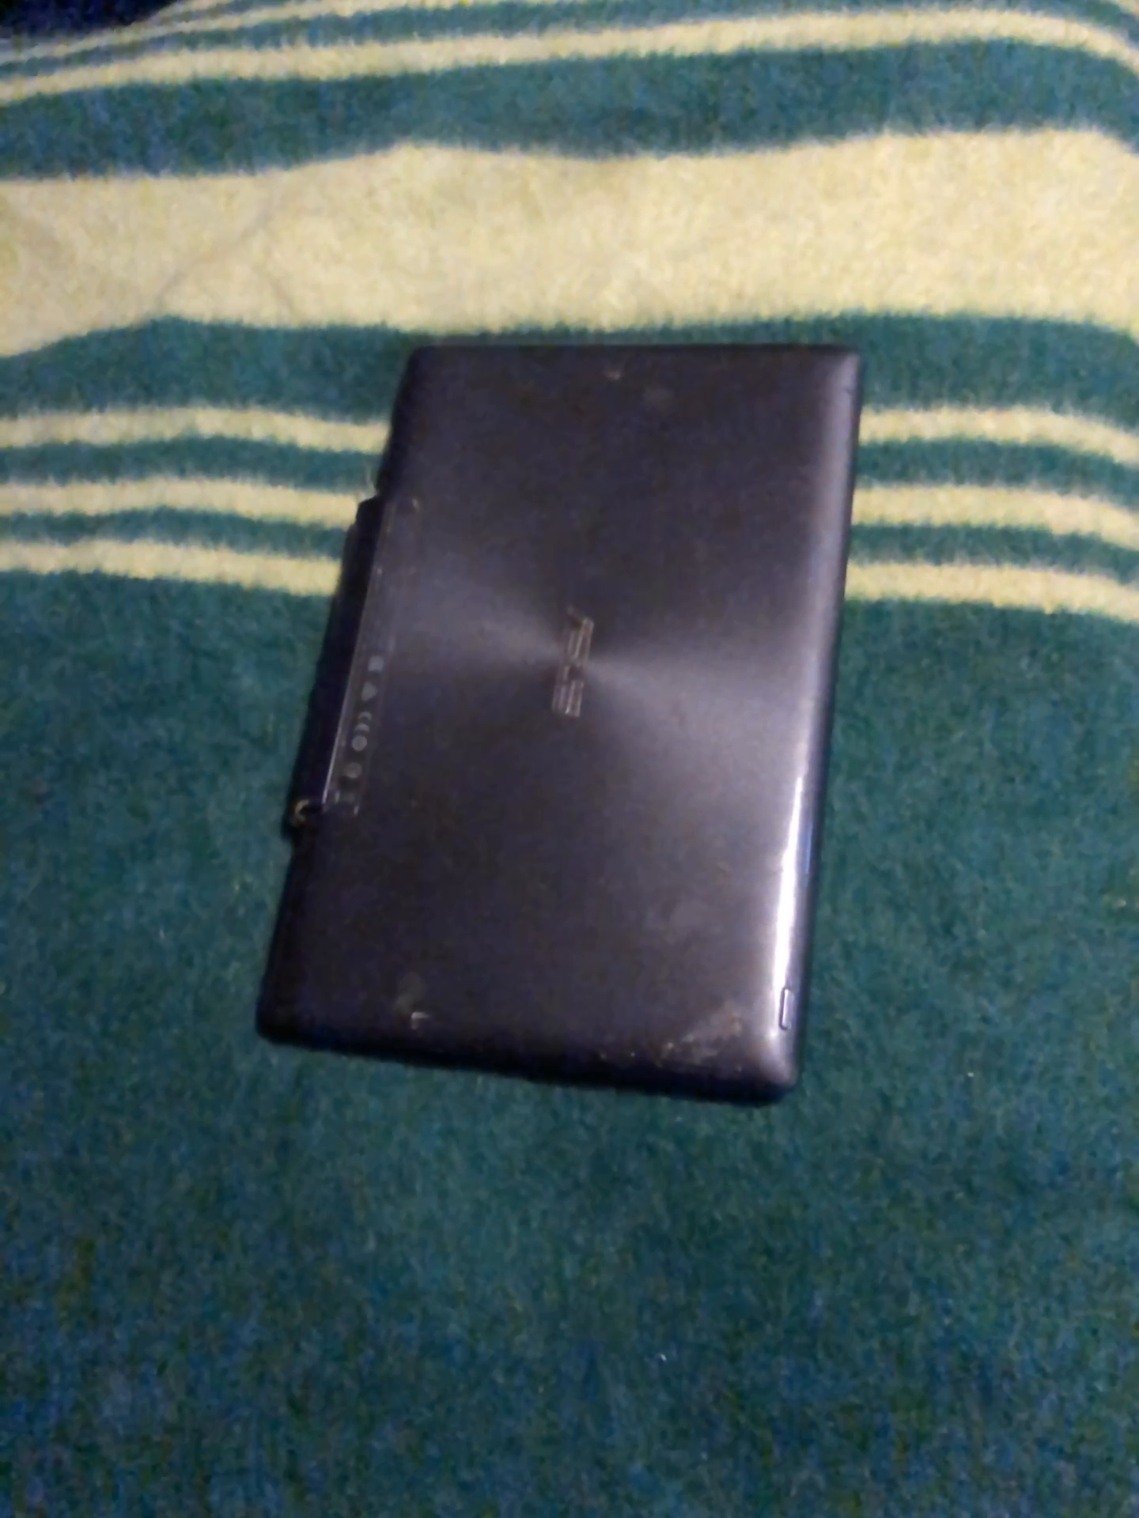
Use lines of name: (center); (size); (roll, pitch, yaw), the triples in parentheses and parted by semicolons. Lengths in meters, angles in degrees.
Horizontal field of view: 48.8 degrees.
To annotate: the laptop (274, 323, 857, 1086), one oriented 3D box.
laptop: (0.005, -0.035, 0.431); (0.167, 0.017, 0.262); (4, 71, 13)
